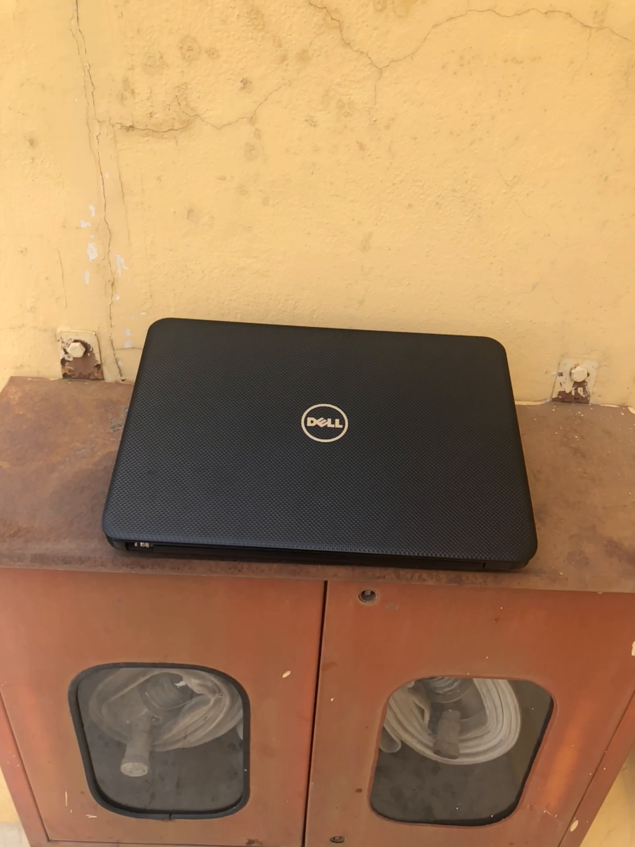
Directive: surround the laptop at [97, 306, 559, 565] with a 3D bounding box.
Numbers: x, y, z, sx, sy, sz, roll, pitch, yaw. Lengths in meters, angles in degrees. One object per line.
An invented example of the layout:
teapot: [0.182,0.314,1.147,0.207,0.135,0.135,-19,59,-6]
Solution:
laptop: [0.011,0.005,0.626,0.352,0.098,0.184,3,43,0]
